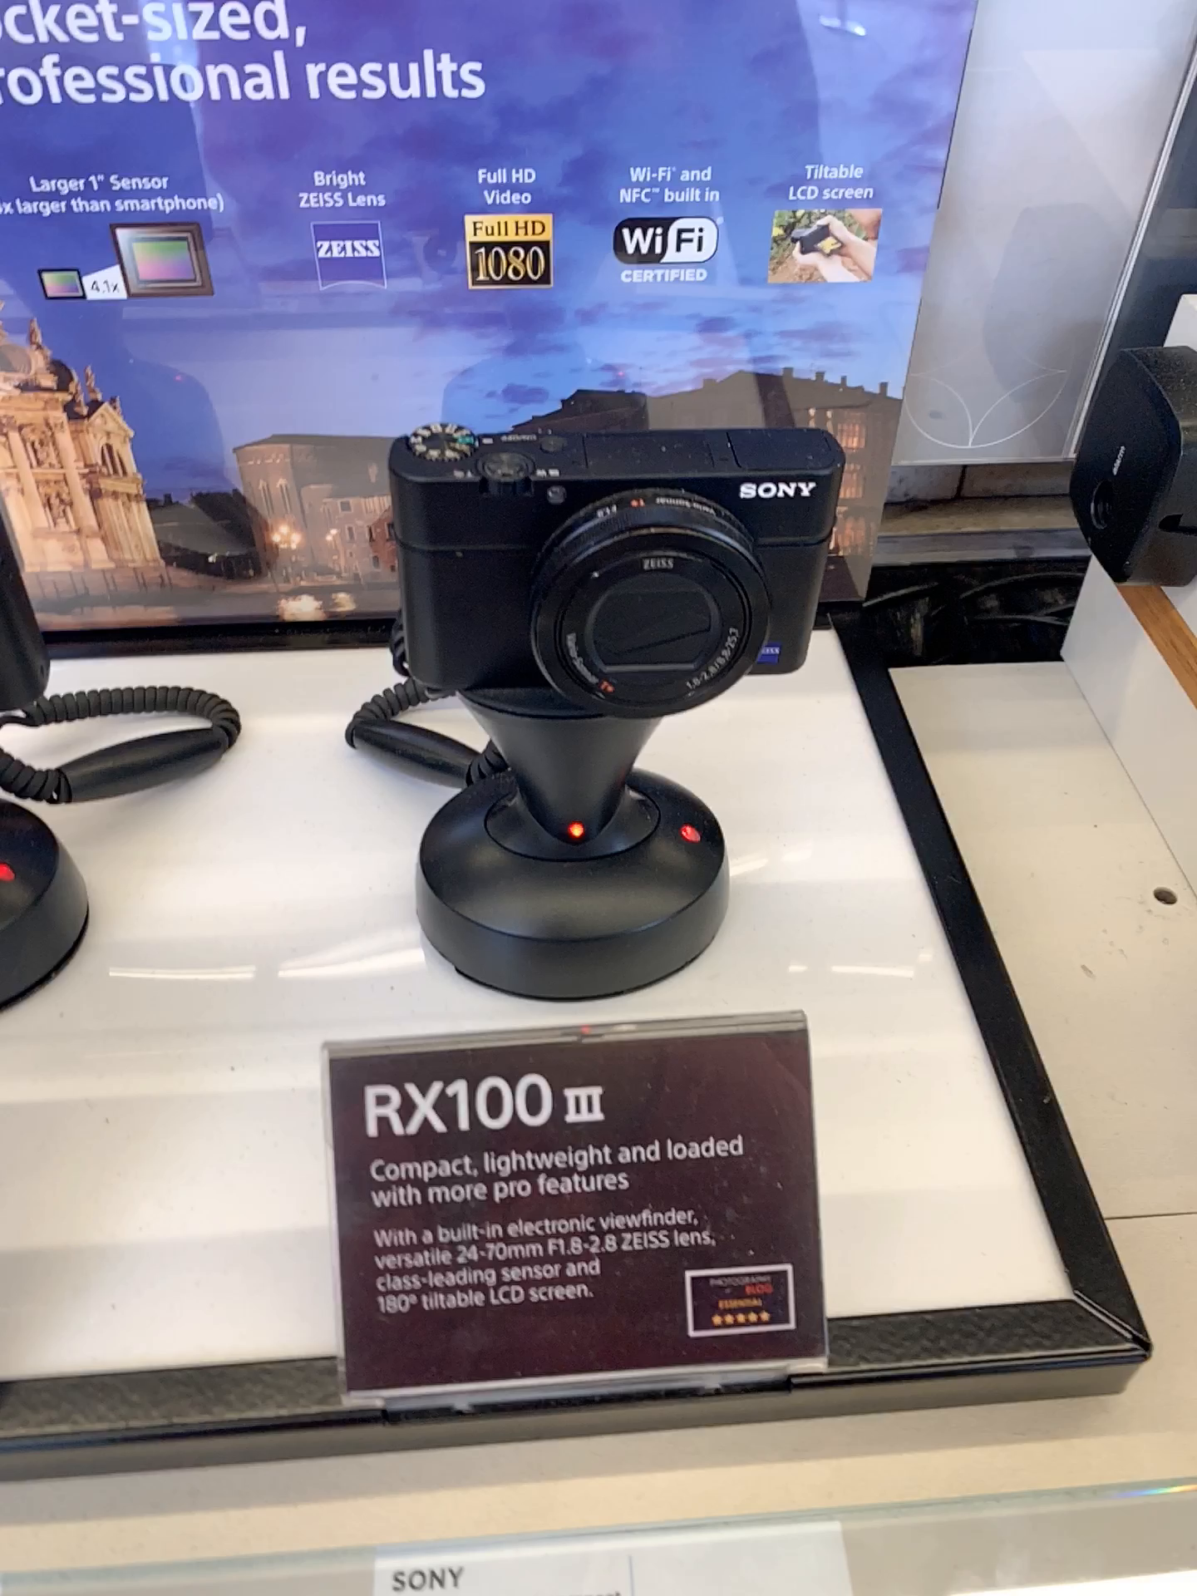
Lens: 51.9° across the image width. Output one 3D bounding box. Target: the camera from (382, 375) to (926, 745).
[{"bbox_3d":[0.009,-0.055,0.285,0.110,0.059,0.050,-5,45,-6],"label":"camera"}]
